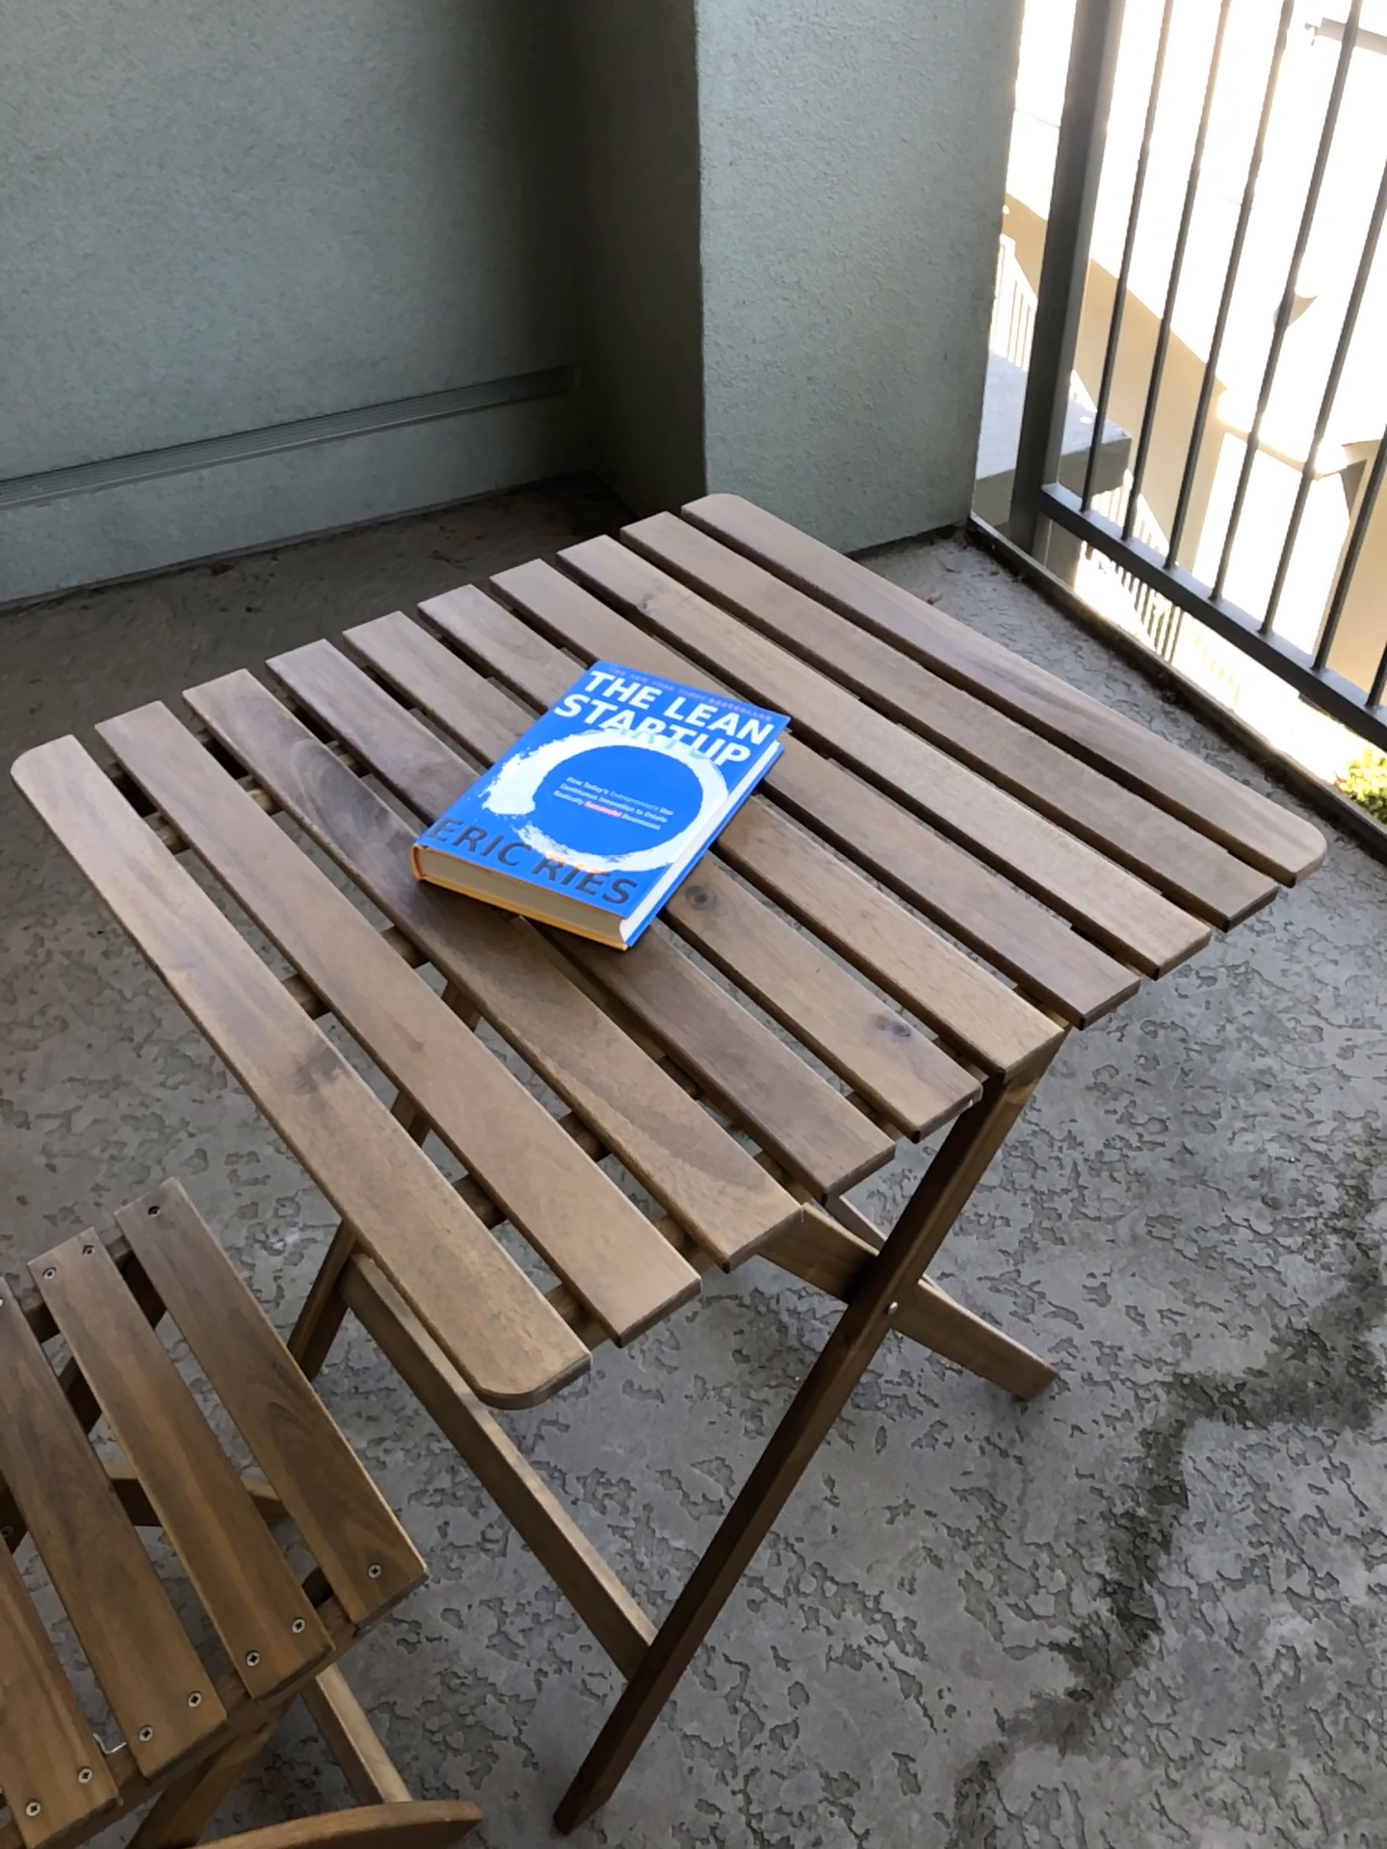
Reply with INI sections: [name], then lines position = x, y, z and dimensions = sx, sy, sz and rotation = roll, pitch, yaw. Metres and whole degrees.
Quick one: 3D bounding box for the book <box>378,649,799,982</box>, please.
[book]
position = -0.058, -0.077, 0.950
dimensions = 0.160, 0.040, 0.231
rotation = 20, 47, 21
